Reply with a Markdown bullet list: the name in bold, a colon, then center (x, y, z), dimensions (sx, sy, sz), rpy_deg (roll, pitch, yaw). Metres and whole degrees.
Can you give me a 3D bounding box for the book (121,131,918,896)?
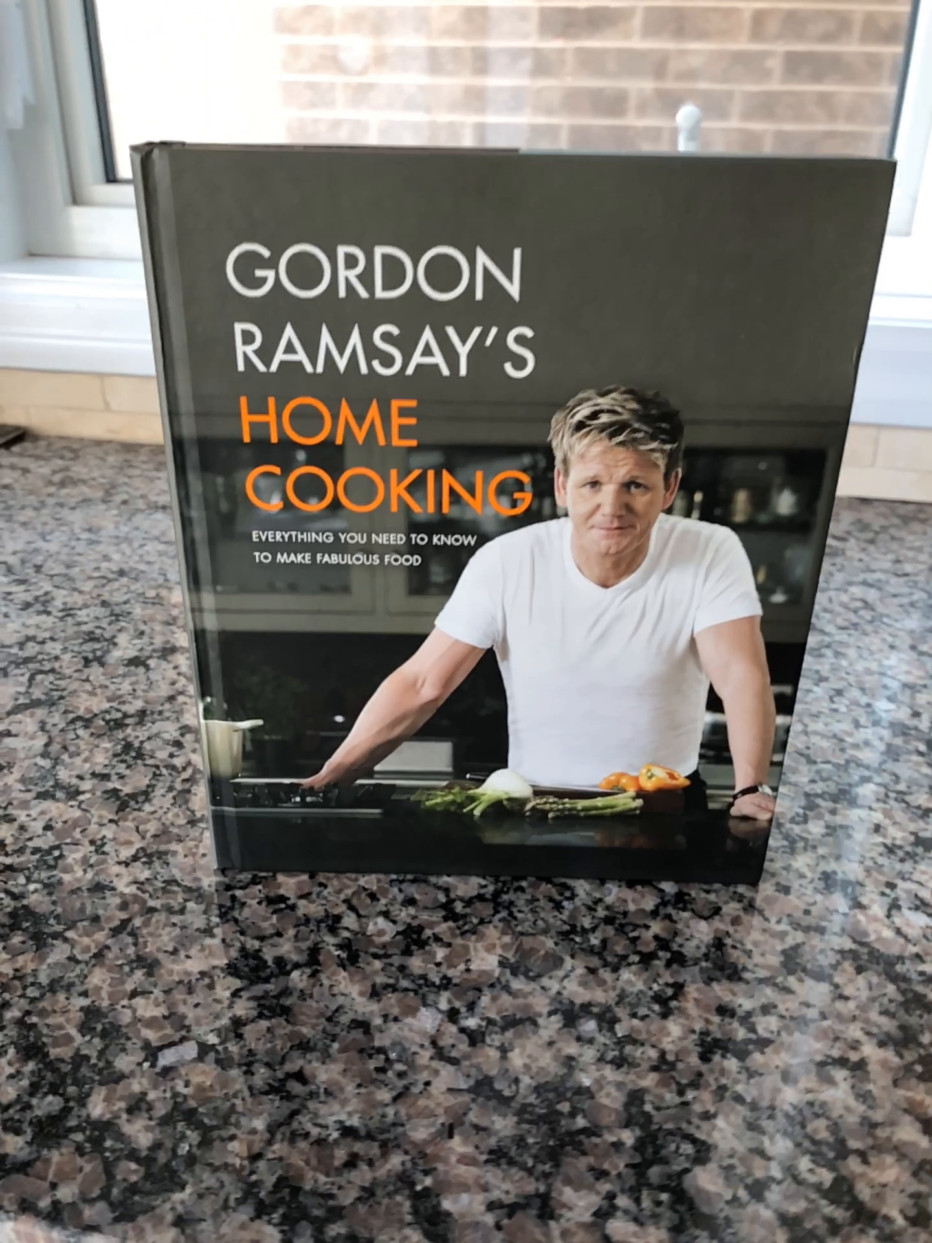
- **book**: center (0.012, -0.020, 0.354), dimensions (0.217, 0.261, 0.028), rpy_deg (1, 27, 1)
